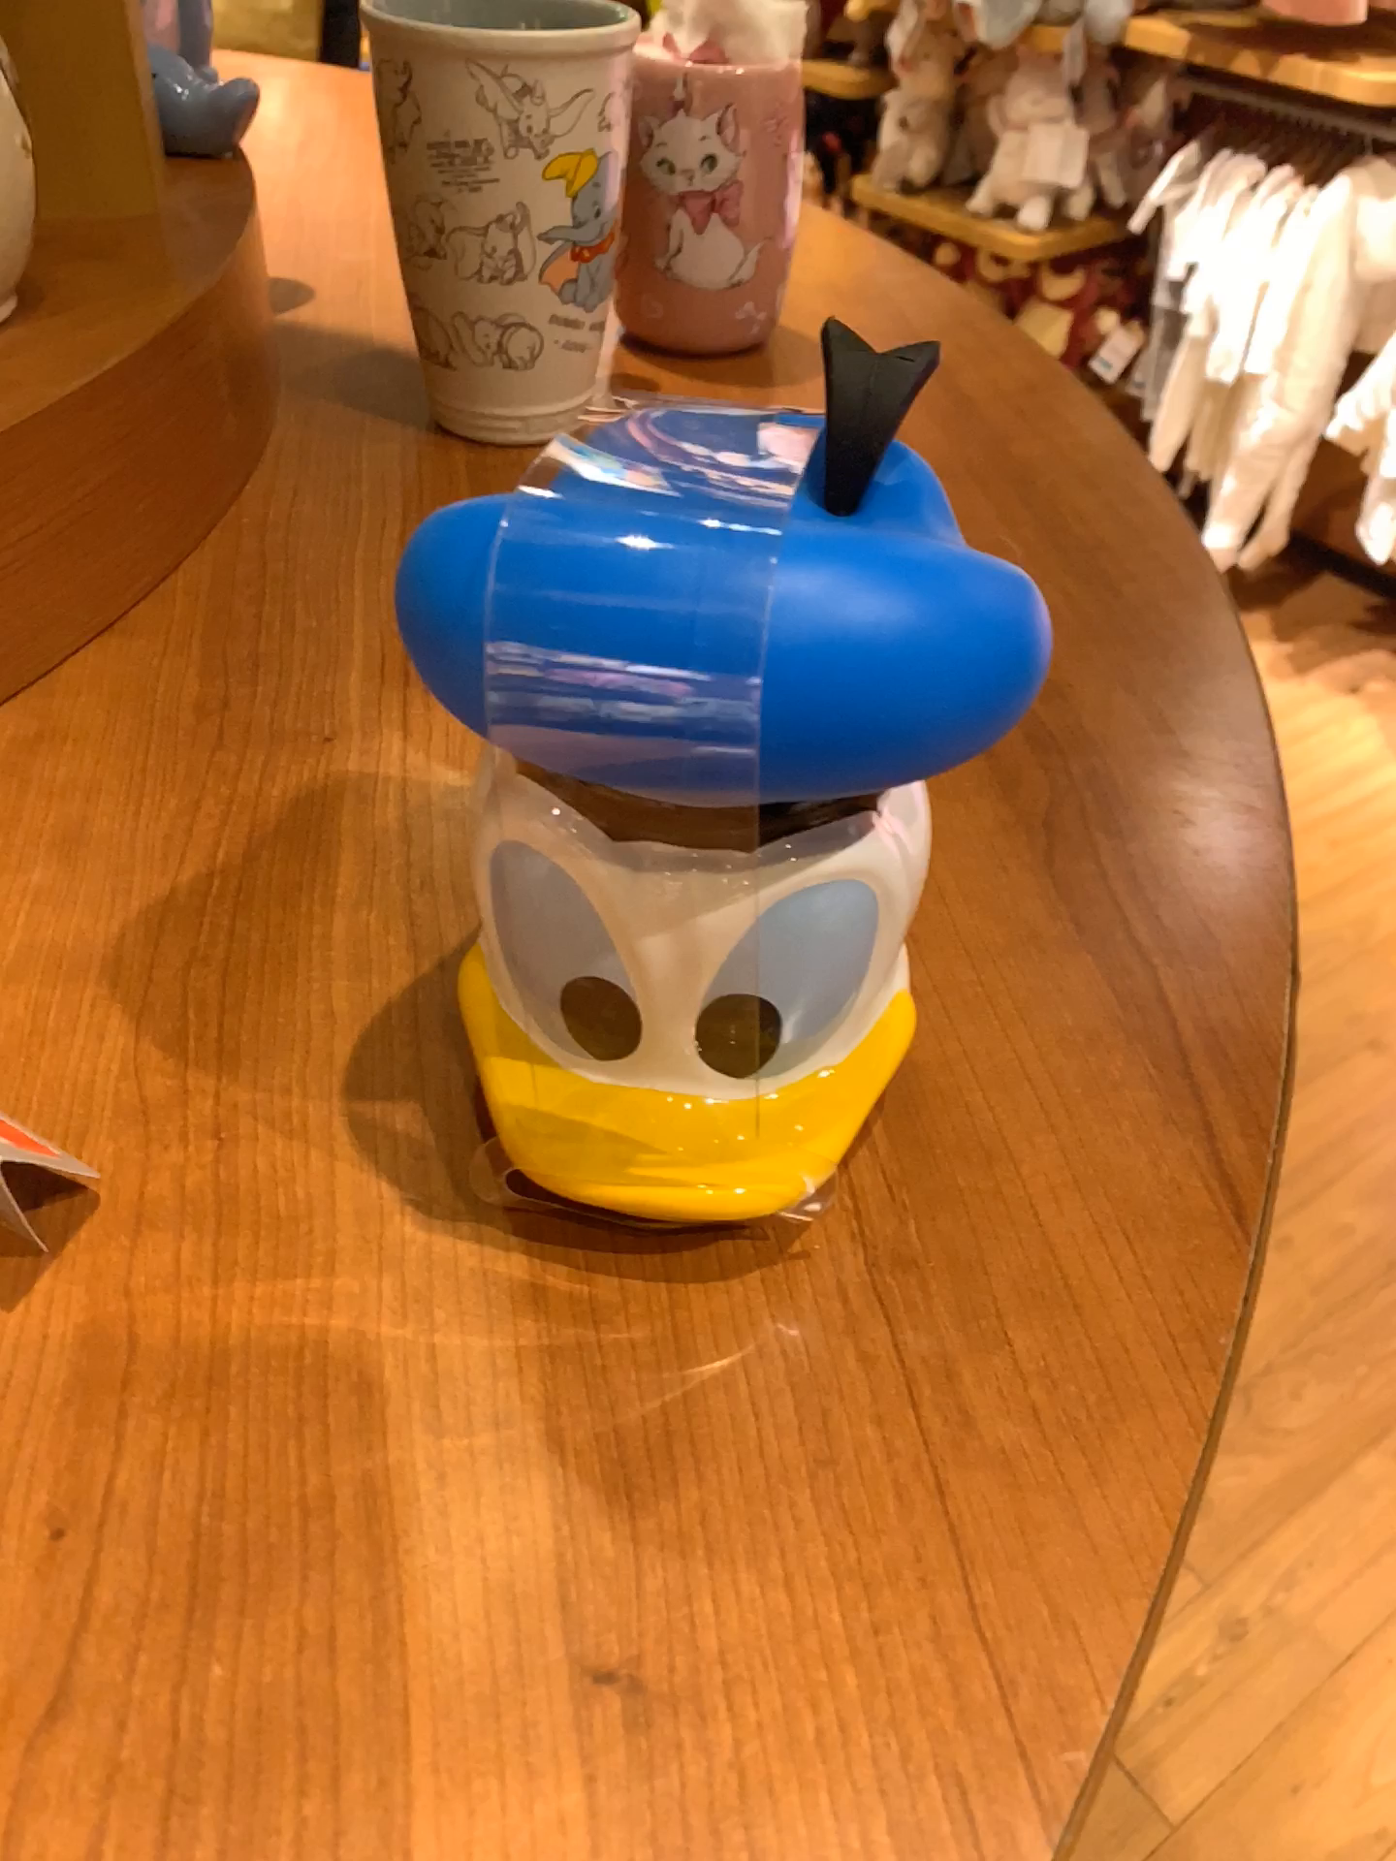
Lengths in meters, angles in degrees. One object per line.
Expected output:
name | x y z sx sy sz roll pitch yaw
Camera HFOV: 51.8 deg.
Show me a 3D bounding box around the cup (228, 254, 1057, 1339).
cup | 0.000 -0.031 0.279 0.105 0.132 0.151 8 44 4
